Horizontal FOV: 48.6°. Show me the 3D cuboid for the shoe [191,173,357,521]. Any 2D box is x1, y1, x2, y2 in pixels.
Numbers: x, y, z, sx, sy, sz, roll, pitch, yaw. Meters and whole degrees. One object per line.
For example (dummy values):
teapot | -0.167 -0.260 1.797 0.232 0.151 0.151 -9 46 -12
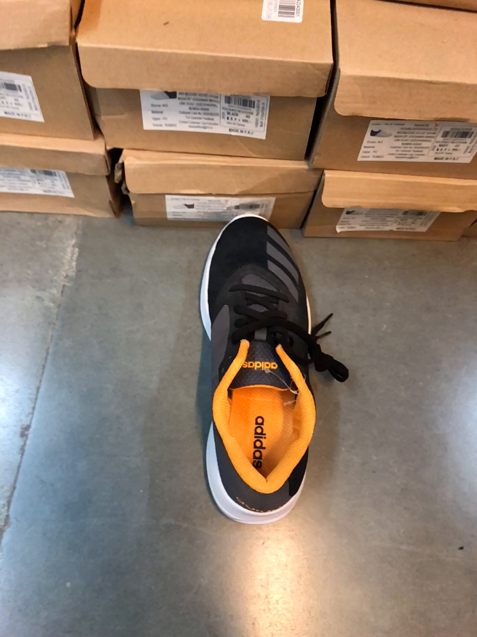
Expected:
shoe | 0.020 0.027 0.451 0.110 0.117 0.271 2 68 -4
